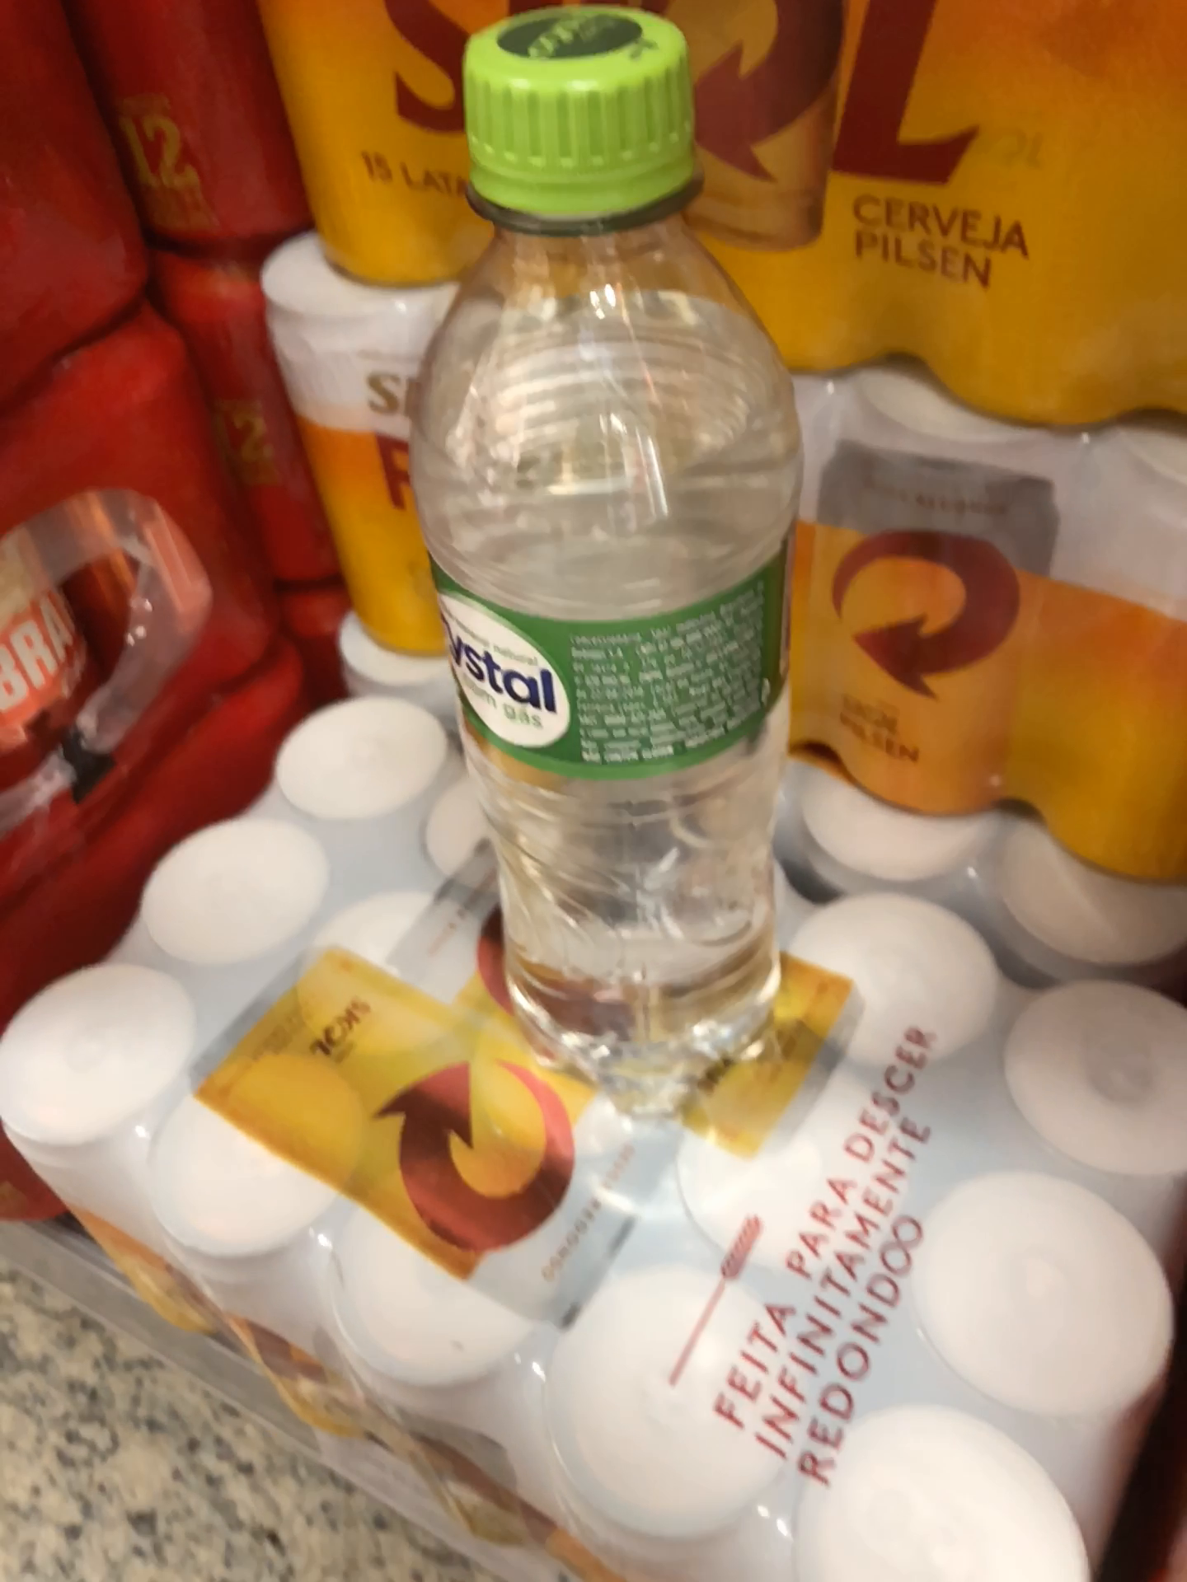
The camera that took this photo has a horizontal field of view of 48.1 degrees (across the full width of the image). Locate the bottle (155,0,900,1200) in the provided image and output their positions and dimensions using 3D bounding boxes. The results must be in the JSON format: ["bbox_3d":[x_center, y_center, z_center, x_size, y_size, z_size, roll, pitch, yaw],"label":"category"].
[{"bbox_3d":[0.003,-0.017,0.240,0.060,0.218,0.070,-36,53,-20],"label":"bottle"}]
